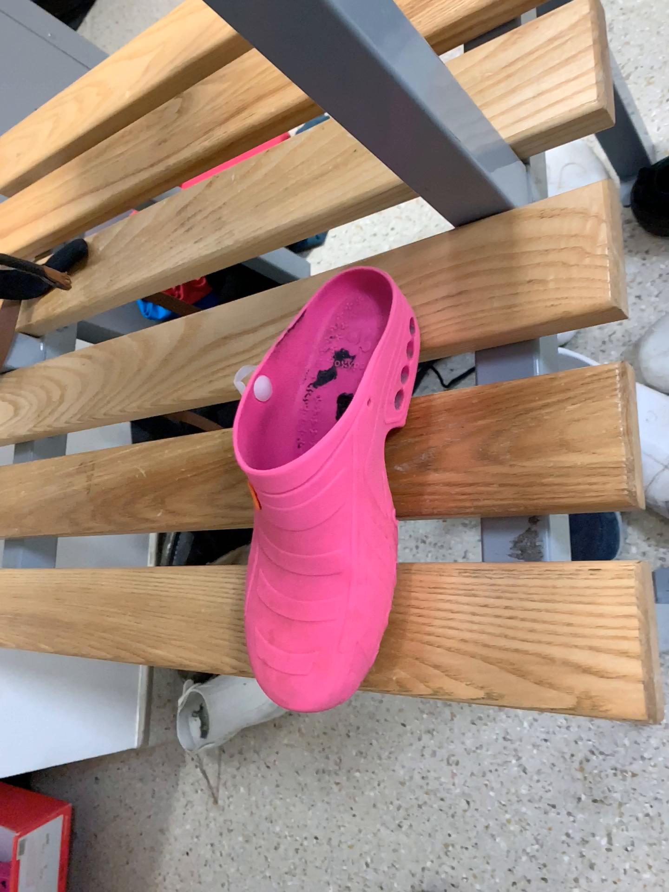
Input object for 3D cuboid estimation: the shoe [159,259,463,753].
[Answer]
[{"bbox_3d":[-0.012,0.024,0.357,0.097,0.068,0.220,8,85,40],"label":"shoe"}]
